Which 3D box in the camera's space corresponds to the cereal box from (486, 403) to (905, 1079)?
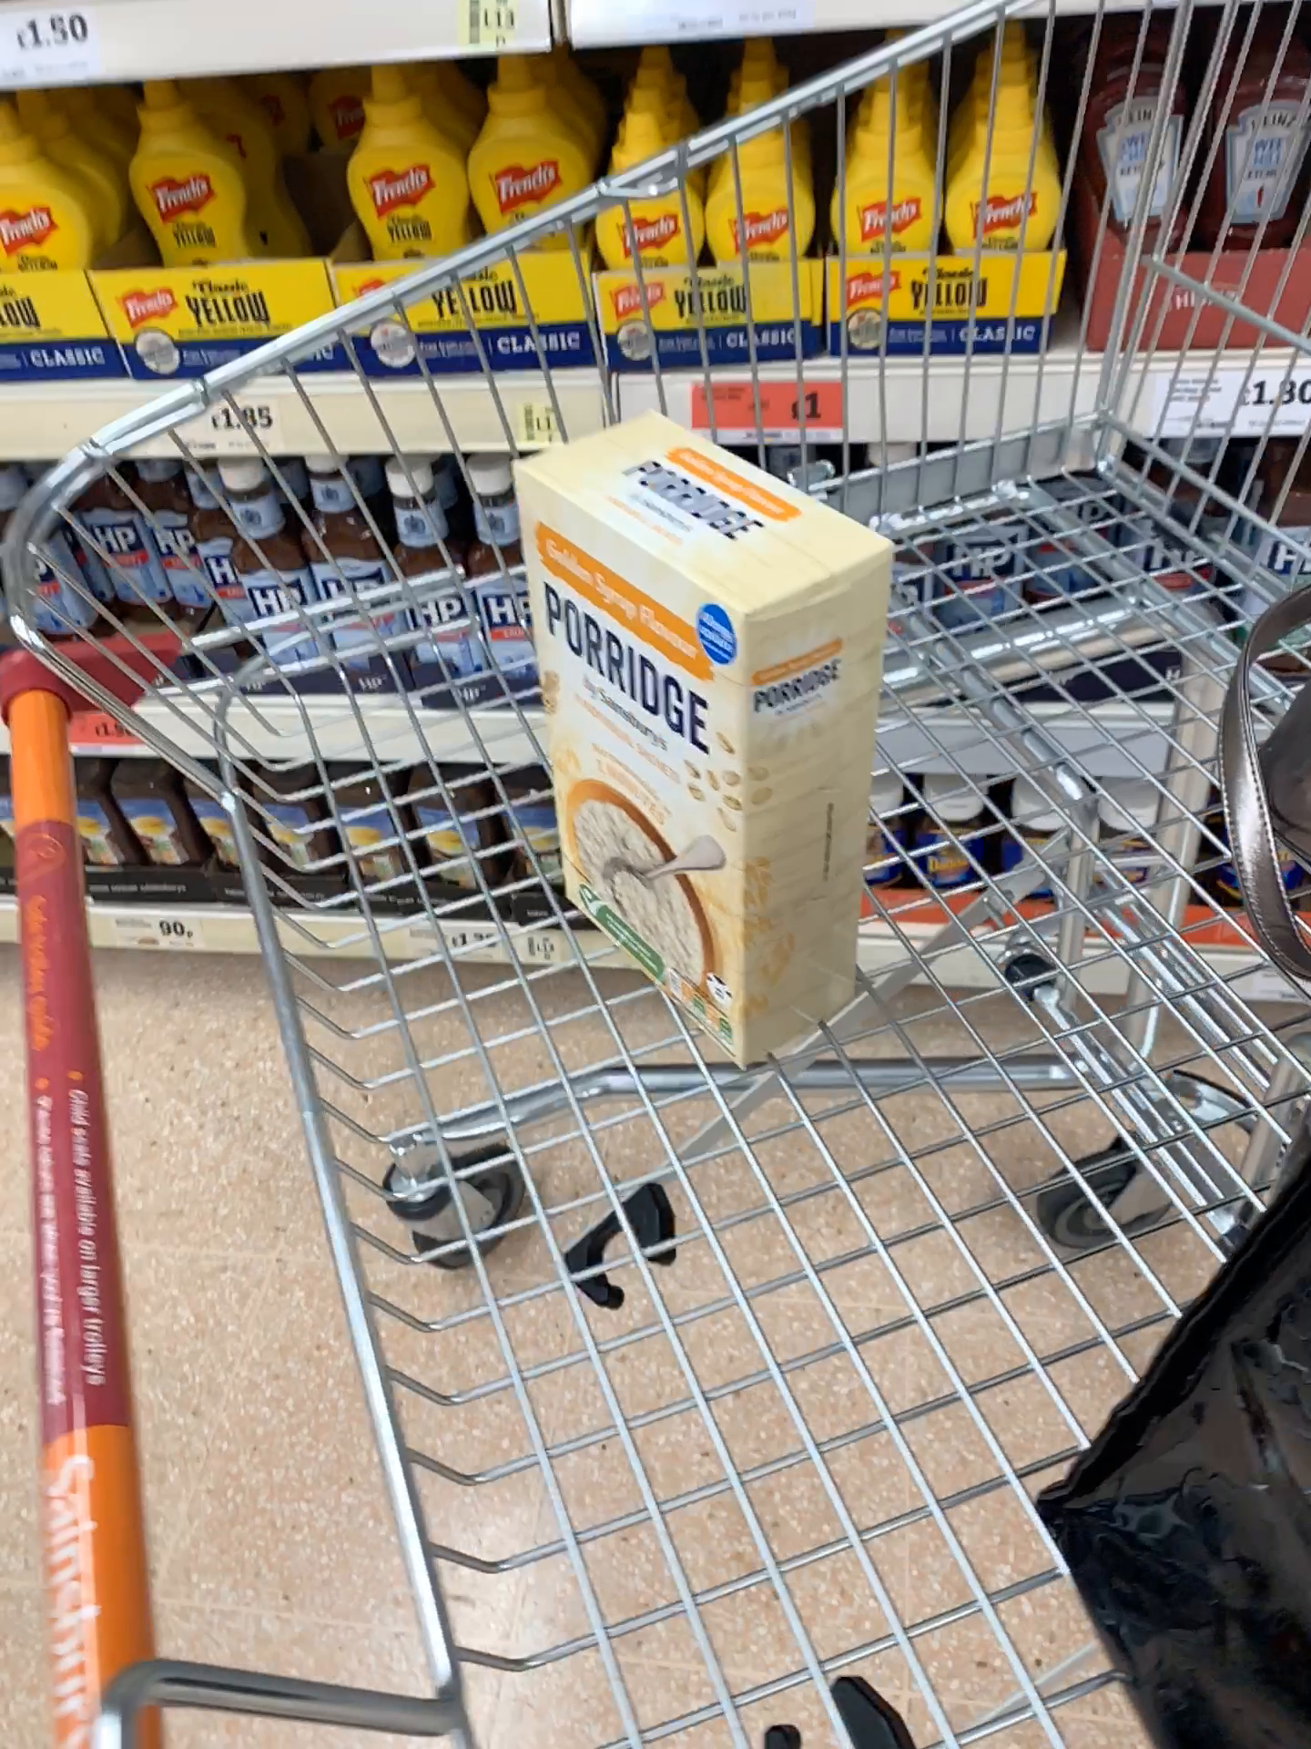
[{"bbox_3d":[0.015,-0.046,0.507,0.070,0.208,0.131,-29,49,-23],"label":"cereal box"}]
